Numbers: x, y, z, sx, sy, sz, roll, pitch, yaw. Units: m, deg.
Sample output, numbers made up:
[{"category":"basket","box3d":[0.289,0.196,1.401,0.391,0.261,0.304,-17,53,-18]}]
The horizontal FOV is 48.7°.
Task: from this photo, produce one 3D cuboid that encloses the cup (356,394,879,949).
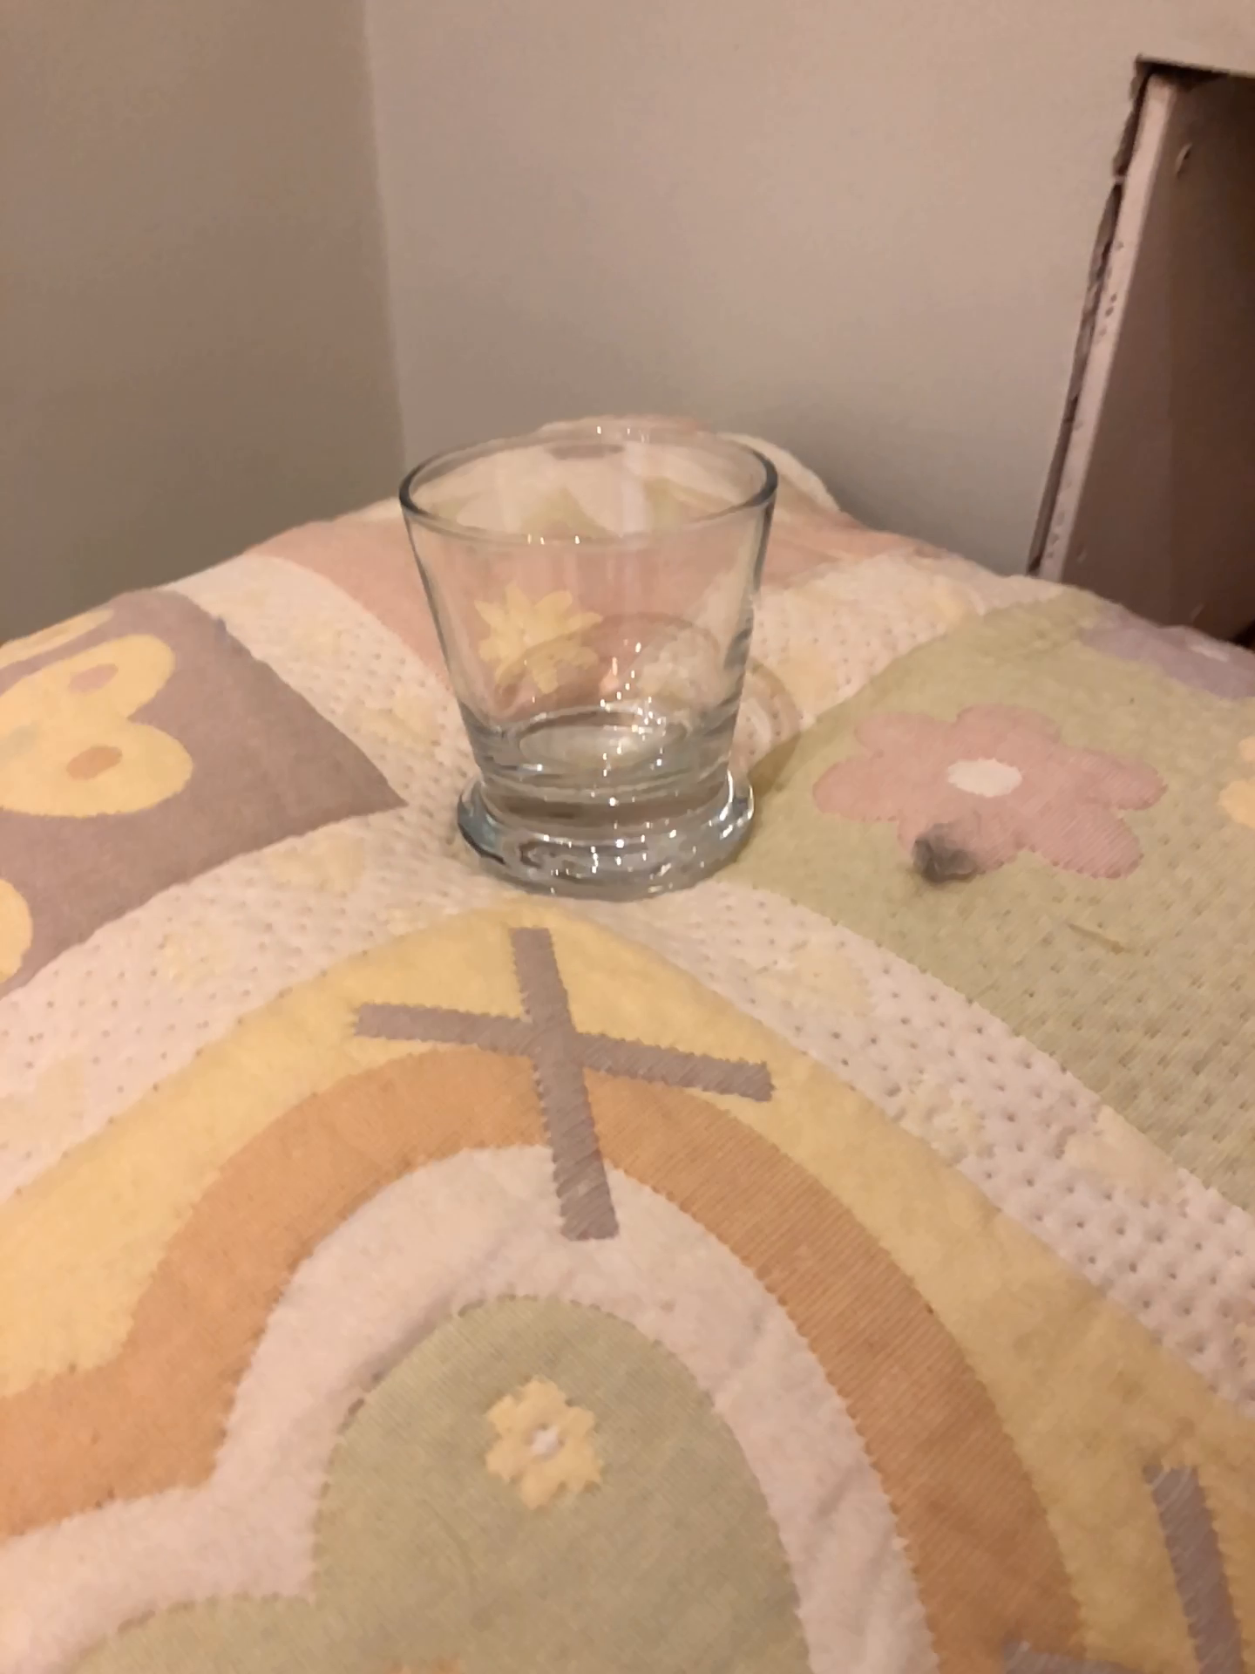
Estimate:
[{"category":"cup","box3d":[-0.002,-0.044,0.320,0.080,0.089,0.080,1,30,0]}]
